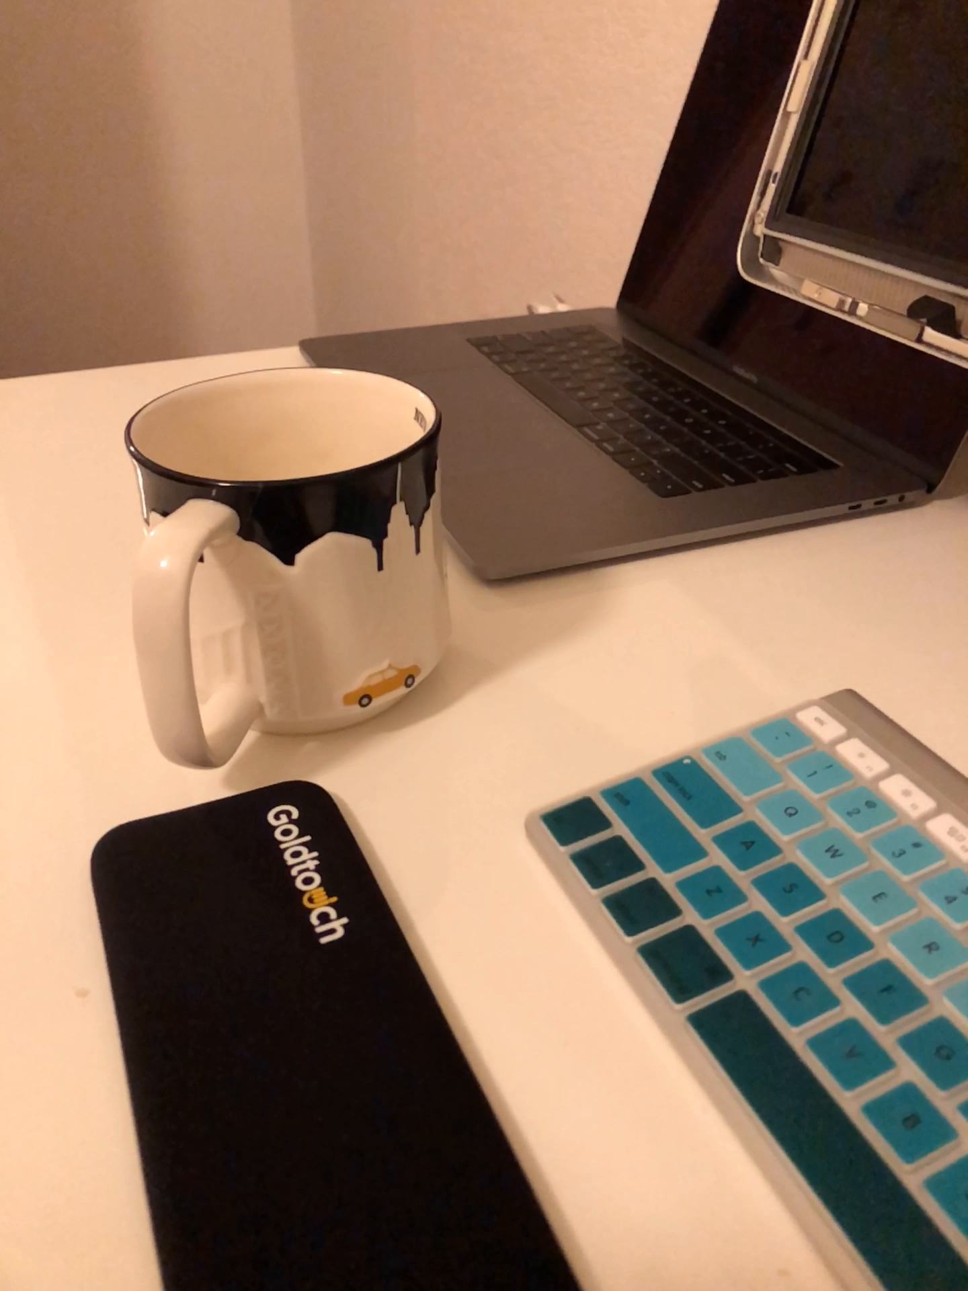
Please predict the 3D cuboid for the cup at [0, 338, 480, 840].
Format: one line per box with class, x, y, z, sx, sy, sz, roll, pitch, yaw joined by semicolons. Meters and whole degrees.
cup;-0.073;-0.031;0.356;0.110;0.089;0.161;7;33;10
